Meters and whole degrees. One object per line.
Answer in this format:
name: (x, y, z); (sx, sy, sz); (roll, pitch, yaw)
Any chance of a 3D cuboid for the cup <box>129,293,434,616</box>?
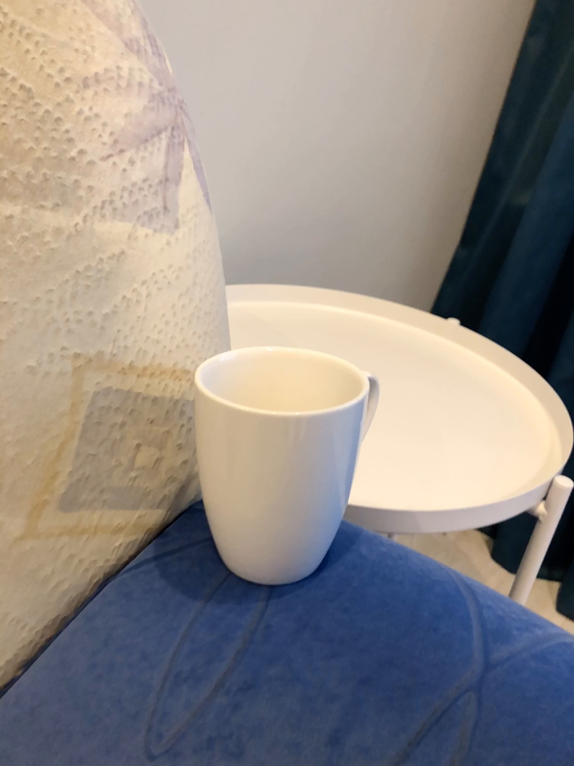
cup: (0.000, 0.020, 0.282); (0.080, 0.079, 0.111); (21, 29, 26)
